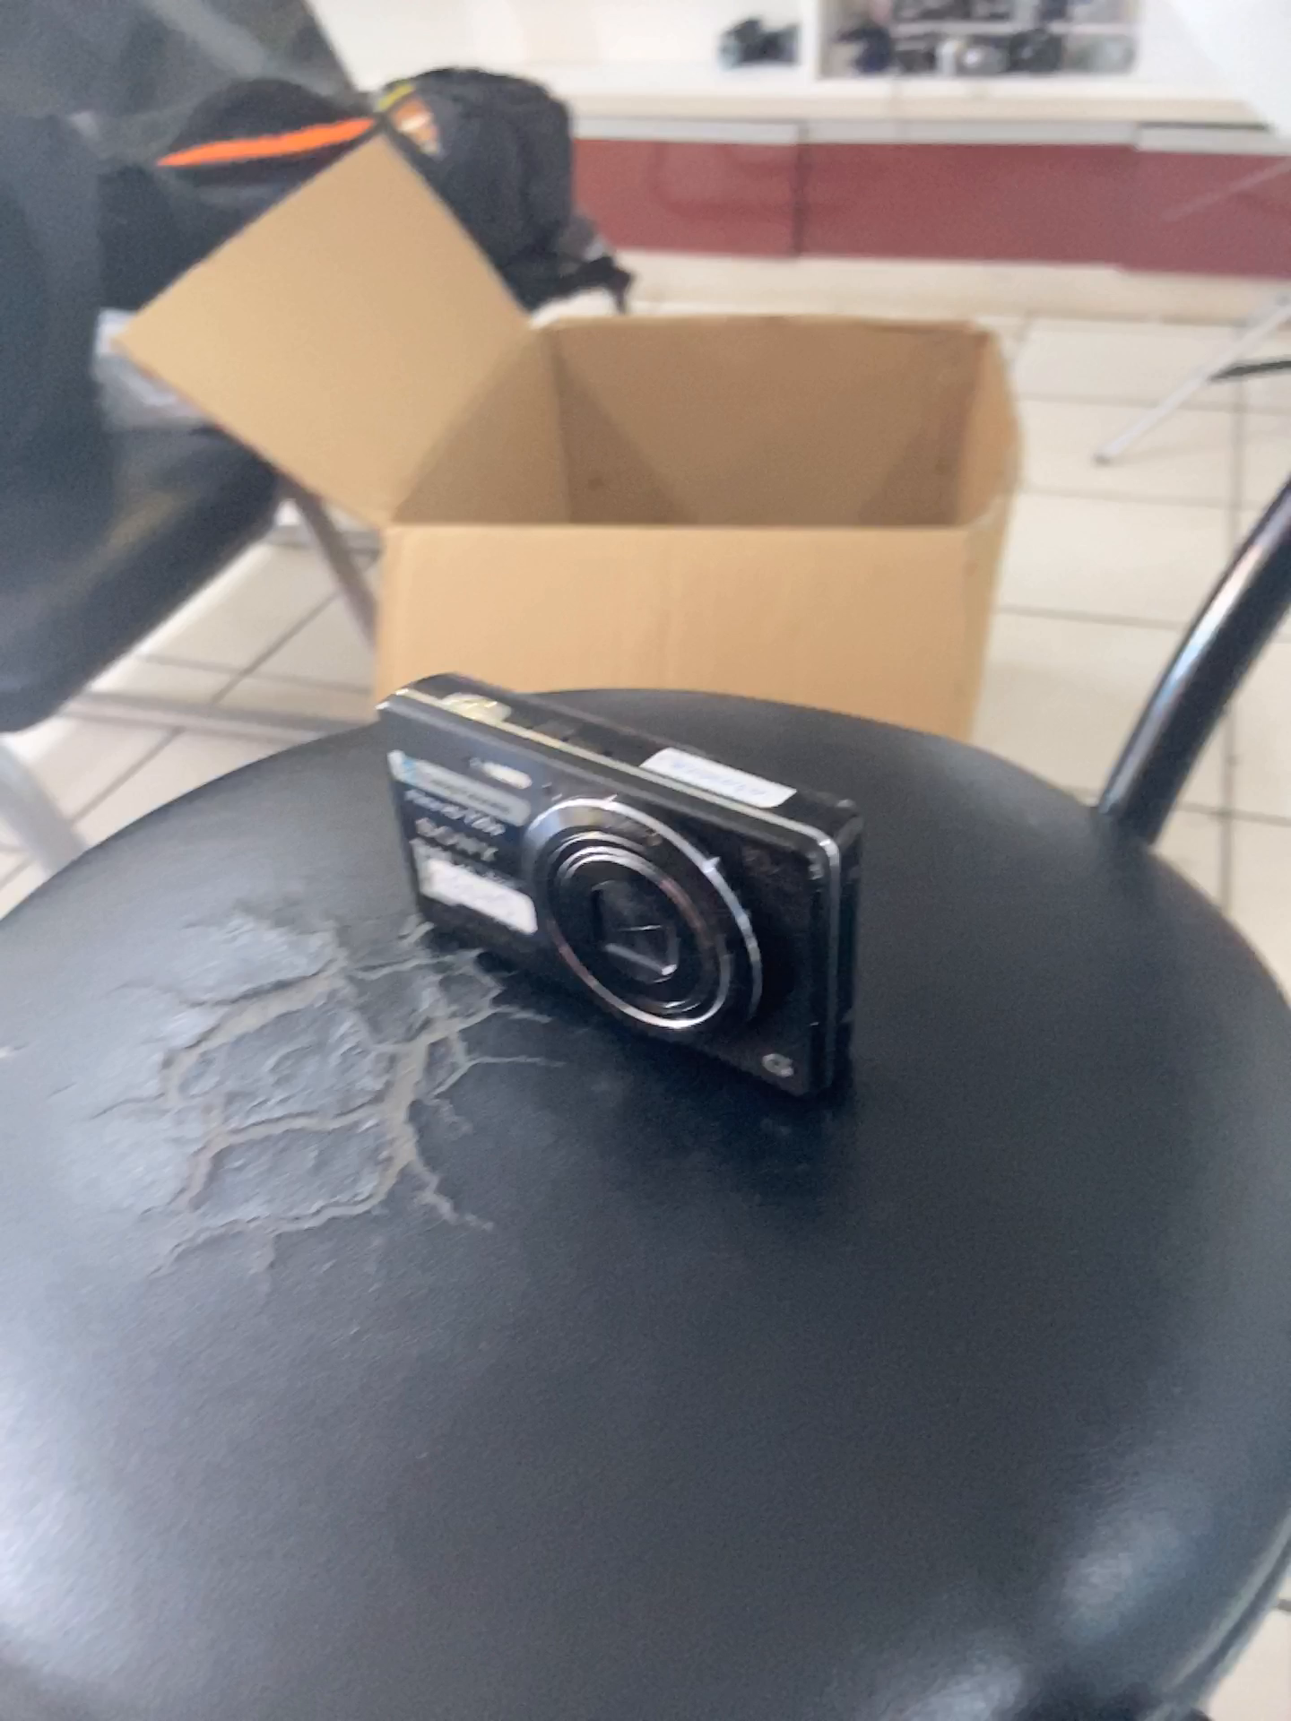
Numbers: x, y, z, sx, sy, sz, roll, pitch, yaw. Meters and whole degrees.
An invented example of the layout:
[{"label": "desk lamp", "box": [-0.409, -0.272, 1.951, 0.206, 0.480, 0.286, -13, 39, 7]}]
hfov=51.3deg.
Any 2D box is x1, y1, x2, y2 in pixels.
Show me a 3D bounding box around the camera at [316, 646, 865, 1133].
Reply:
[{"label": "camera", "box": [-0.011, 0.002, 0.235, 0.097, 0.051, 0.024, 23, 45, 30]}]
